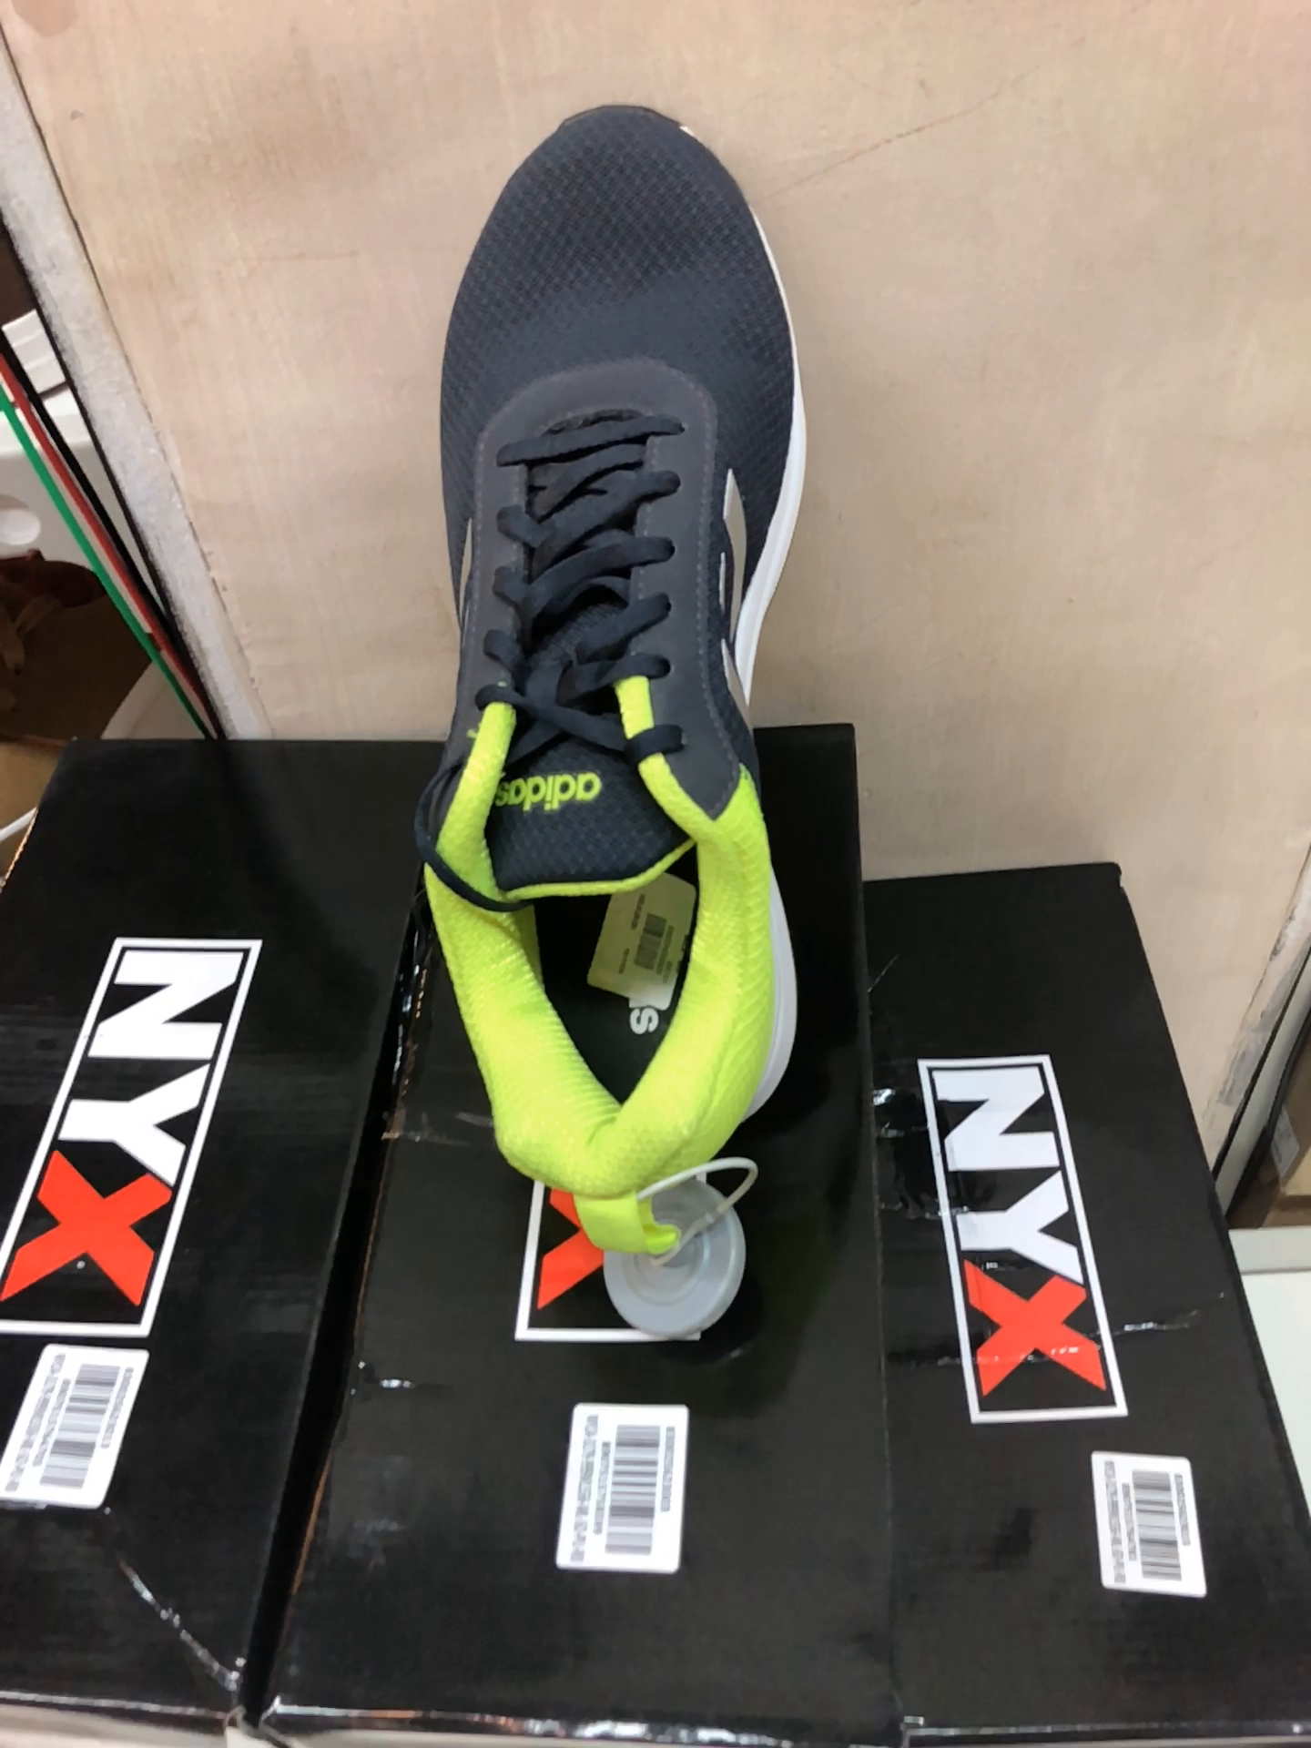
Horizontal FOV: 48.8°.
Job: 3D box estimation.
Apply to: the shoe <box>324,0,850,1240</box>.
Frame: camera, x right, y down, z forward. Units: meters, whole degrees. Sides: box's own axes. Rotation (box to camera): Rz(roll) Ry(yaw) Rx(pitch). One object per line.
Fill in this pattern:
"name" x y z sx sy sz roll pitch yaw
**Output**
"shoe" -0.013 -0.055 0.364 0.104 0.098 0.272 -3 84 10
